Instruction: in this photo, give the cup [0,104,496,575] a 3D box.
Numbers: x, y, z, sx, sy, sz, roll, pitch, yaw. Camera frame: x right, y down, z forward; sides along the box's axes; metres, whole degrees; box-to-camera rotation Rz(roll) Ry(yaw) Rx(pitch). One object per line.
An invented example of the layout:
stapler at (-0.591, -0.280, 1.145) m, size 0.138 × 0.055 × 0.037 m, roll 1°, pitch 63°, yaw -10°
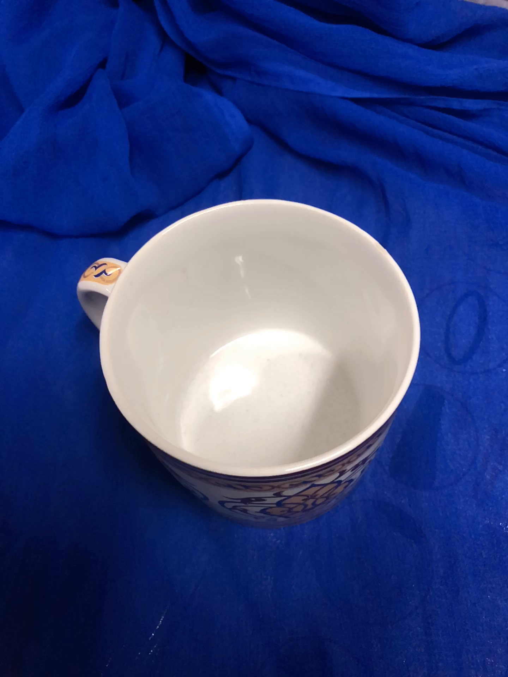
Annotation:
cup at (-0.007, 0.004, 0.177) m, size 0.110 × 0.080 × 0.080 m, roll 26°, pitch 68°, yaw 12°
